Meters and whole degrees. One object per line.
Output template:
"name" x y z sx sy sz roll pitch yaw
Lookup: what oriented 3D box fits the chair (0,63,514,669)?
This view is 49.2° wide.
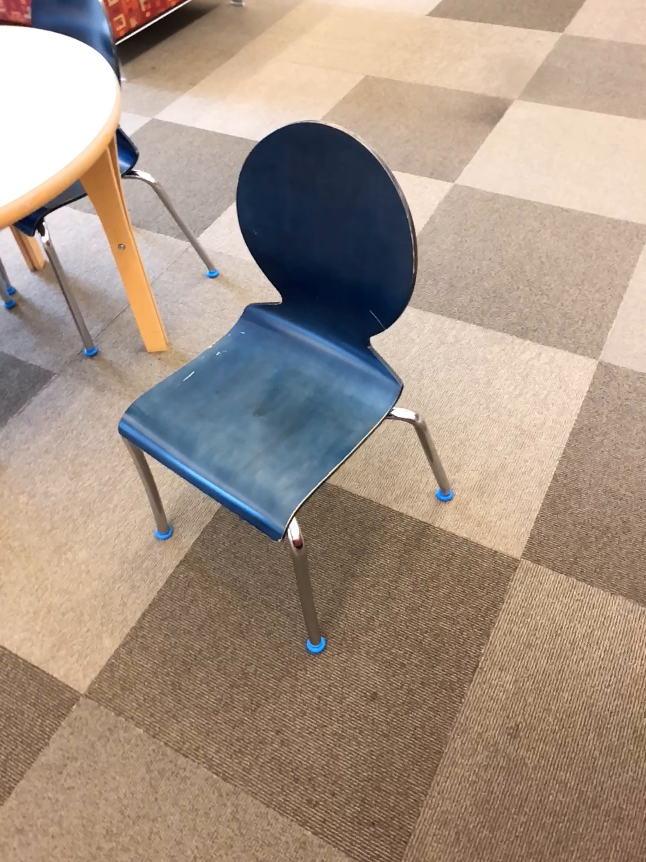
"chair" -0.082 -0.086 1.137 0.498 0.699 0.475 30 58 26
